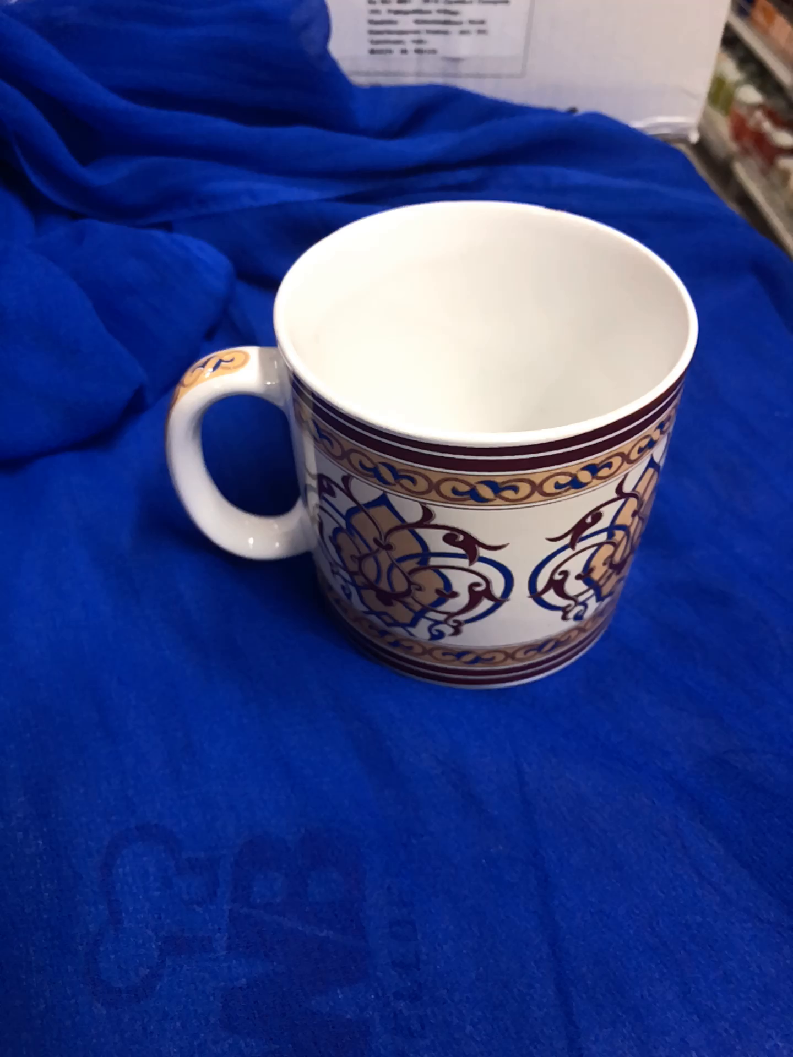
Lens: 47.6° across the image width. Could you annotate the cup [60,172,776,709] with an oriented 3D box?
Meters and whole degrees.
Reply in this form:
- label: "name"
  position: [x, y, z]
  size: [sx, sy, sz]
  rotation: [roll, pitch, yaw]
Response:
- label: "cup"
  position: [0.001, -0.018, 0.194]
  size: [0.110, 0.080, 0.080]
  rotation: [0, 48, -4]
